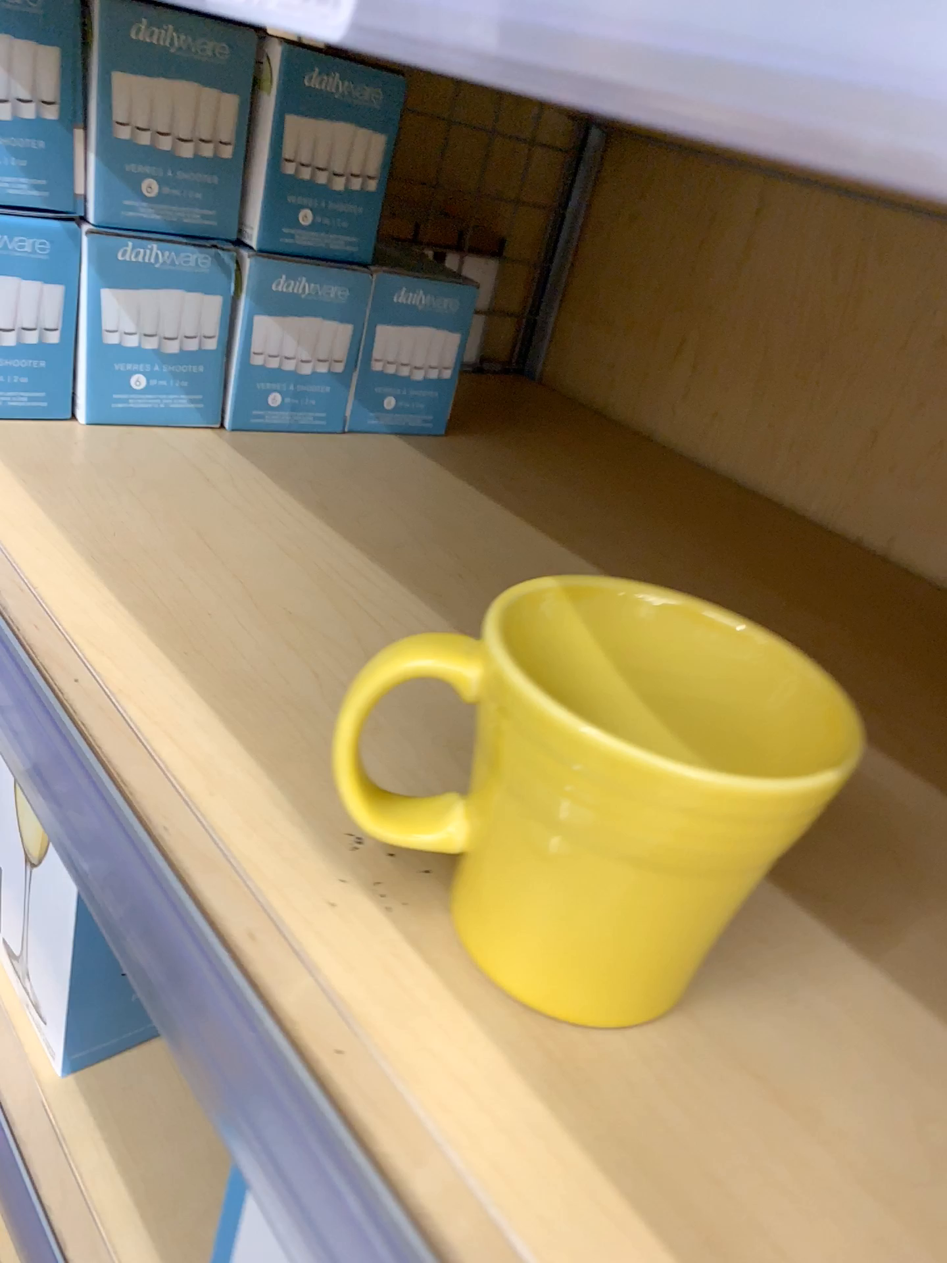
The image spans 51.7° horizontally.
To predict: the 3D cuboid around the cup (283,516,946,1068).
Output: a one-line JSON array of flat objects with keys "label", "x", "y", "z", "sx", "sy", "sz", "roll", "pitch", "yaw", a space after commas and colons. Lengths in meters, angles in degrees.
[{"label": "cup", "x": 0.029, "y": 0.041, "z": 0.279, "sx": 0.139, "sy": 0.088, "sz": 0.104, "roll": 12, "pitch": 27, "yaw": -9}]
